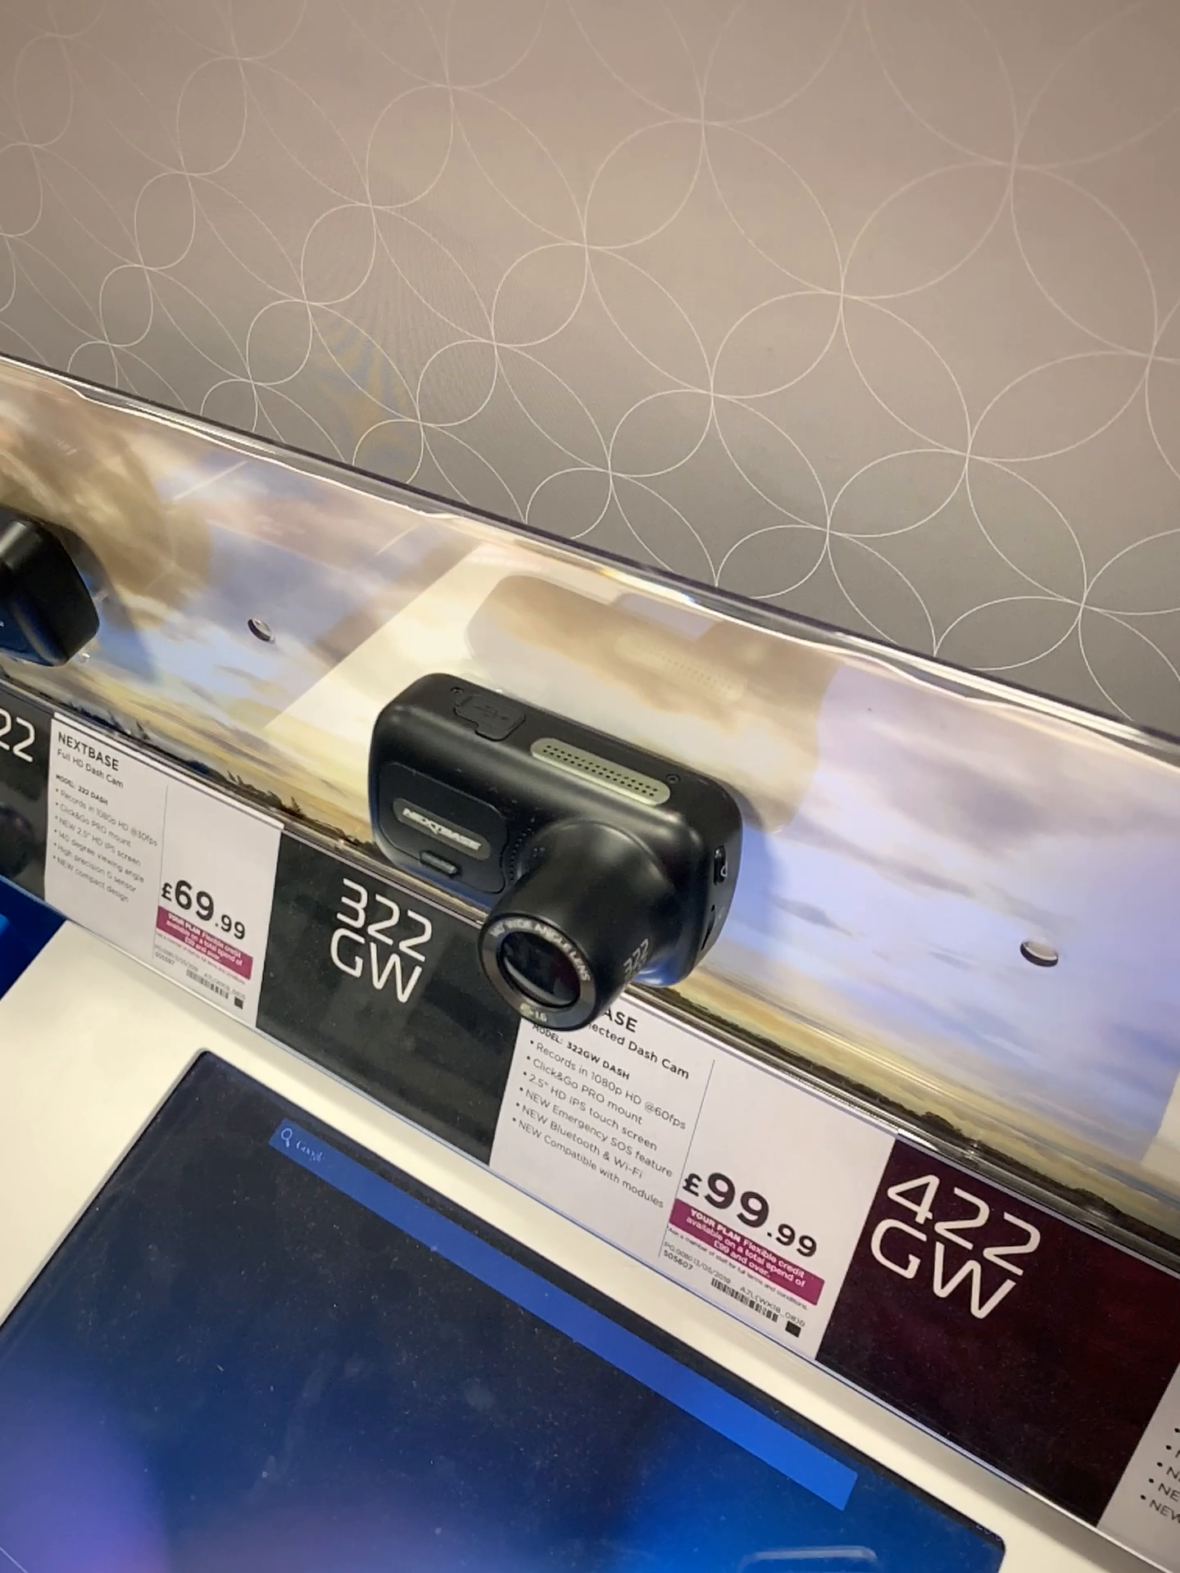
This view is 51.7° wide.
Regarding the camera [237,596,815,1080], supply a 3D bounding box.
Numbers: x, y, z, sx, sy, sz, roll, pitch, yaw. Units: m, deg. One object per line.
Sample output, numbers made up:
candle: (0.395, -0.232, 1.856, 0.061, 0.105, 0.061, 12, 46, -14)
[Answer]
camera: (-0.013, 0.004, 0.251, 0.090, 0.040, 0.070, 25, 39, 26)
